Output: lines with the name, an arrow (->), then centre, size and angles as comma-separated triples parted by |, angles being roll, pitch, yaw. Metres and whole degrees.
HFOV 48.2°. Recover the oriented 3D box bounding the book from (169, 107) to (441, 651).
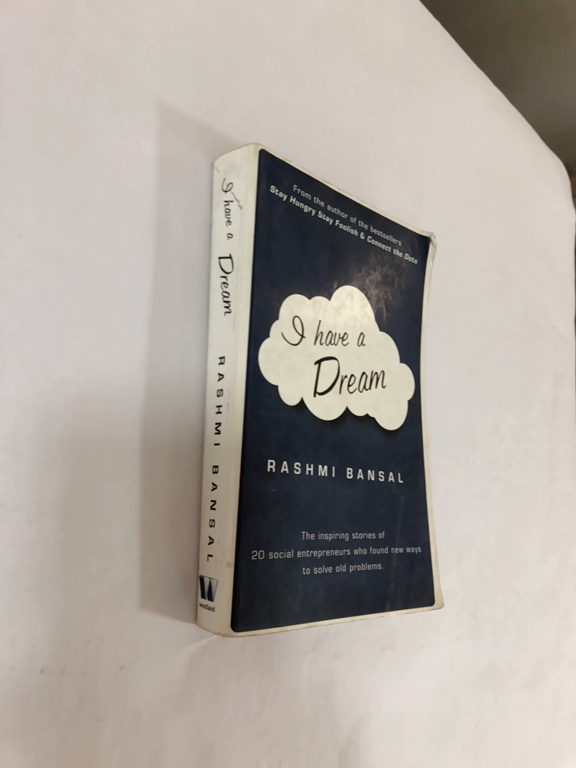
book -> 0.018, 0.003, 0.293 | 0.141, 0.030, 0.200 | 12, 75, -45
